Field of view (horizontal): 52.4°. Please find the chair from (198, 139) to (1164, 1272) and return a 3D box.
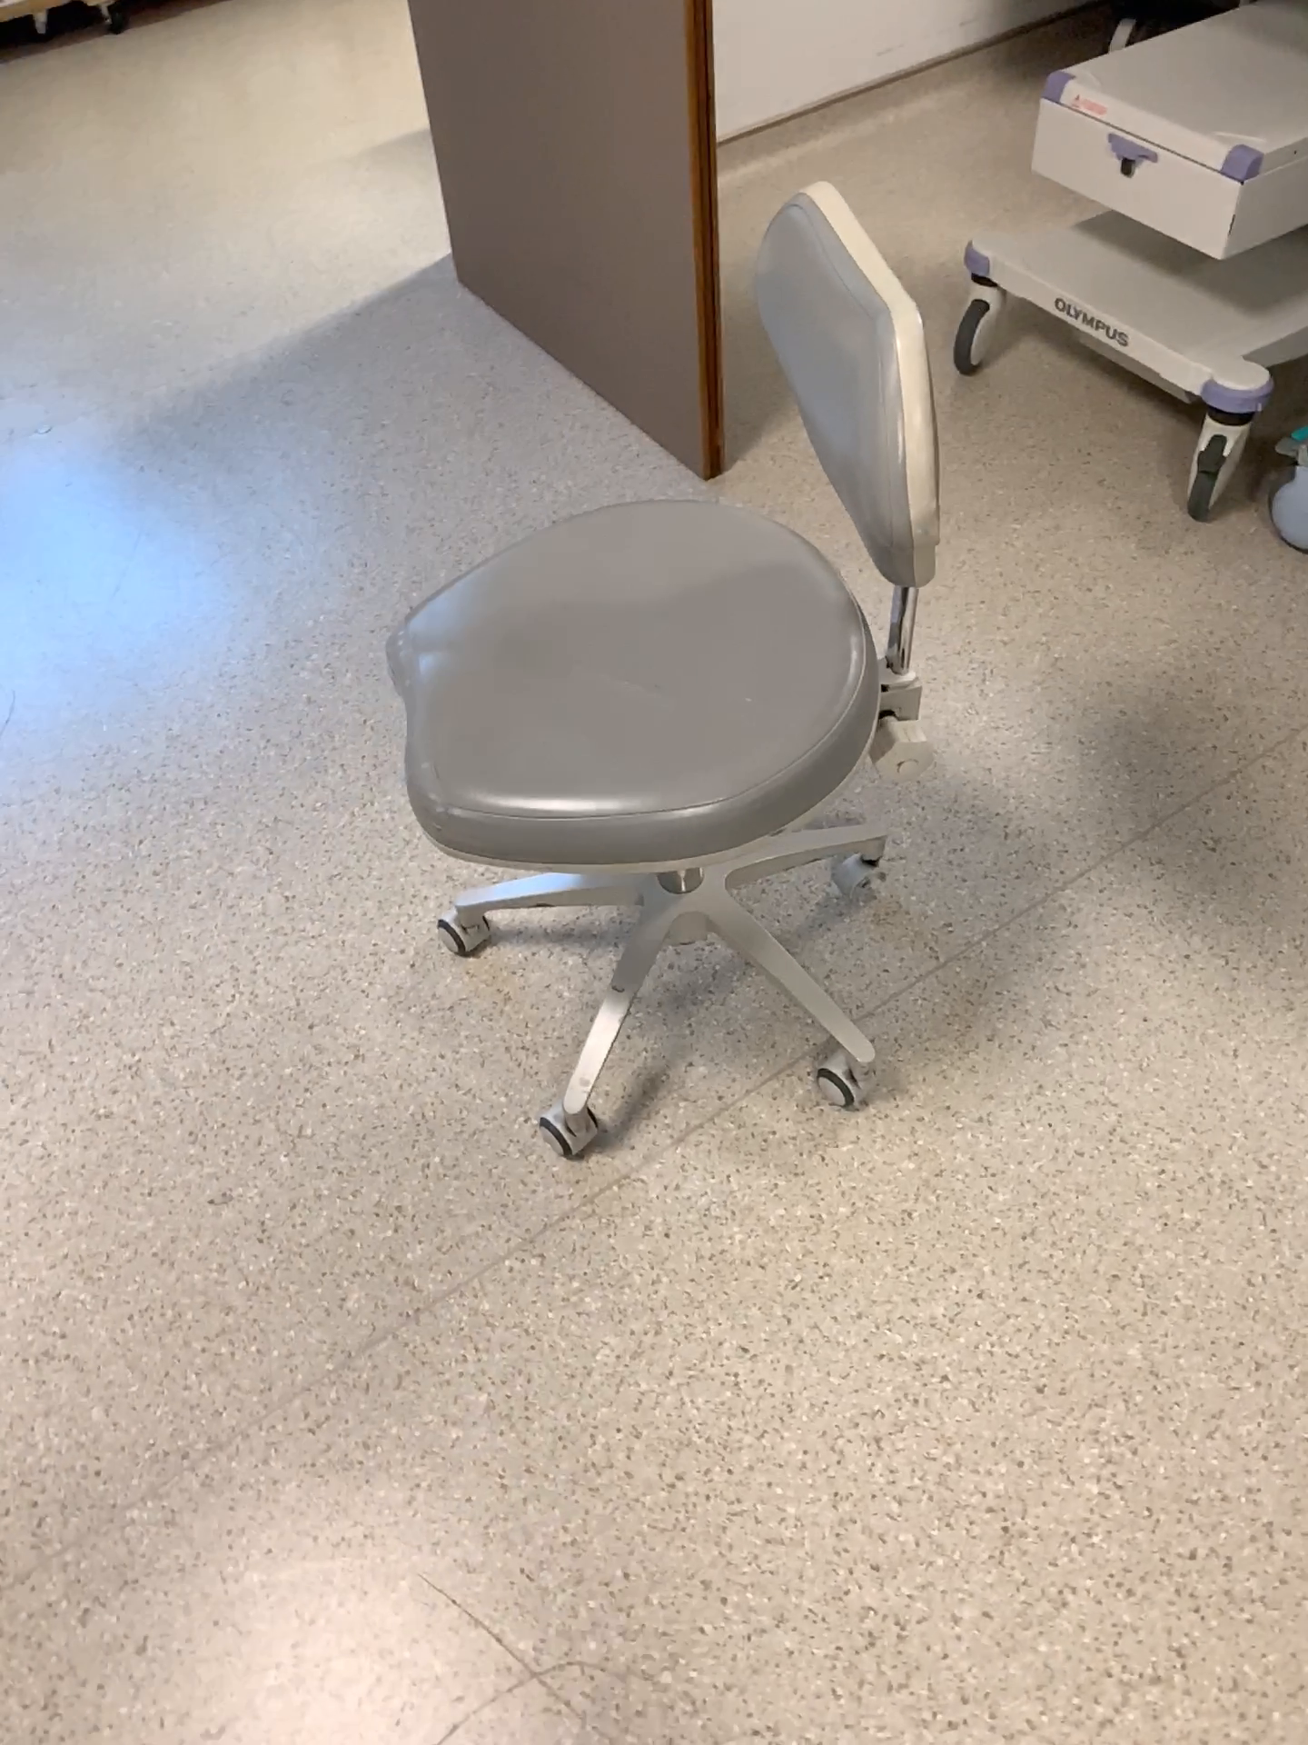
[{"bbox_3d":[-0.010,-0.132,1.330,0.600,0.823,0.605,-14,50,-7],"label":"chair"}]
